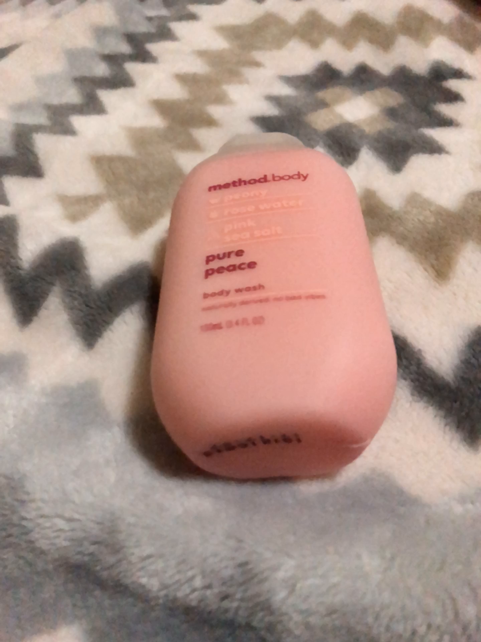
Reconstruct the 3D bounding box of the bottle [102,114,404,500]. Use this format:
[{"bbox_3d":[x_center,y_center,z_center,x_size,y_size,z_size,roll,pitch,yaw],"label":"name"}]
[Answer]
[{"bbox_3d":[0.006,-0.011,0.148,0.057,0.030,0.110,-2,50,7],"label":"bottle"}]
